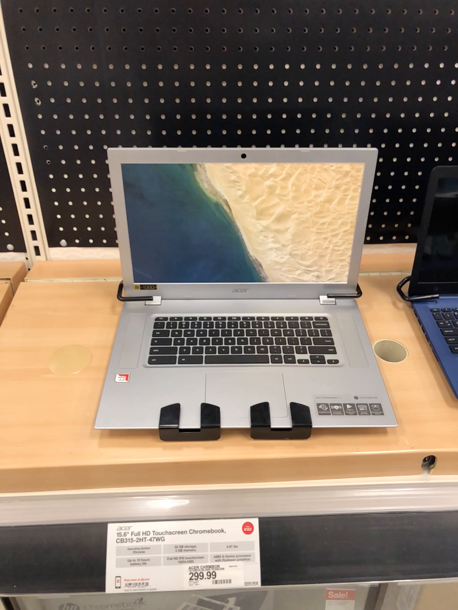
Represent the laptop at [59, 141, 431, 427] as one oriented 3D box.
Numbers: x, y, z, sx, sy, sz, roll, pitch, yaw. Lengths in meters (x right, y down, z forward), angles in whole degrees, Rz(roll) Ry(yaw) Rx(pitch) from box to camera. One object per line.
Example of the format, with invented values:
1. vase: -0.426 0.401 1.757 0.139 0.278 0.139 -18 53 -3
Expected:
1. laptop: 0.014 -0.044 0.679 0.371 0.246 0.287 -1 34 -1
